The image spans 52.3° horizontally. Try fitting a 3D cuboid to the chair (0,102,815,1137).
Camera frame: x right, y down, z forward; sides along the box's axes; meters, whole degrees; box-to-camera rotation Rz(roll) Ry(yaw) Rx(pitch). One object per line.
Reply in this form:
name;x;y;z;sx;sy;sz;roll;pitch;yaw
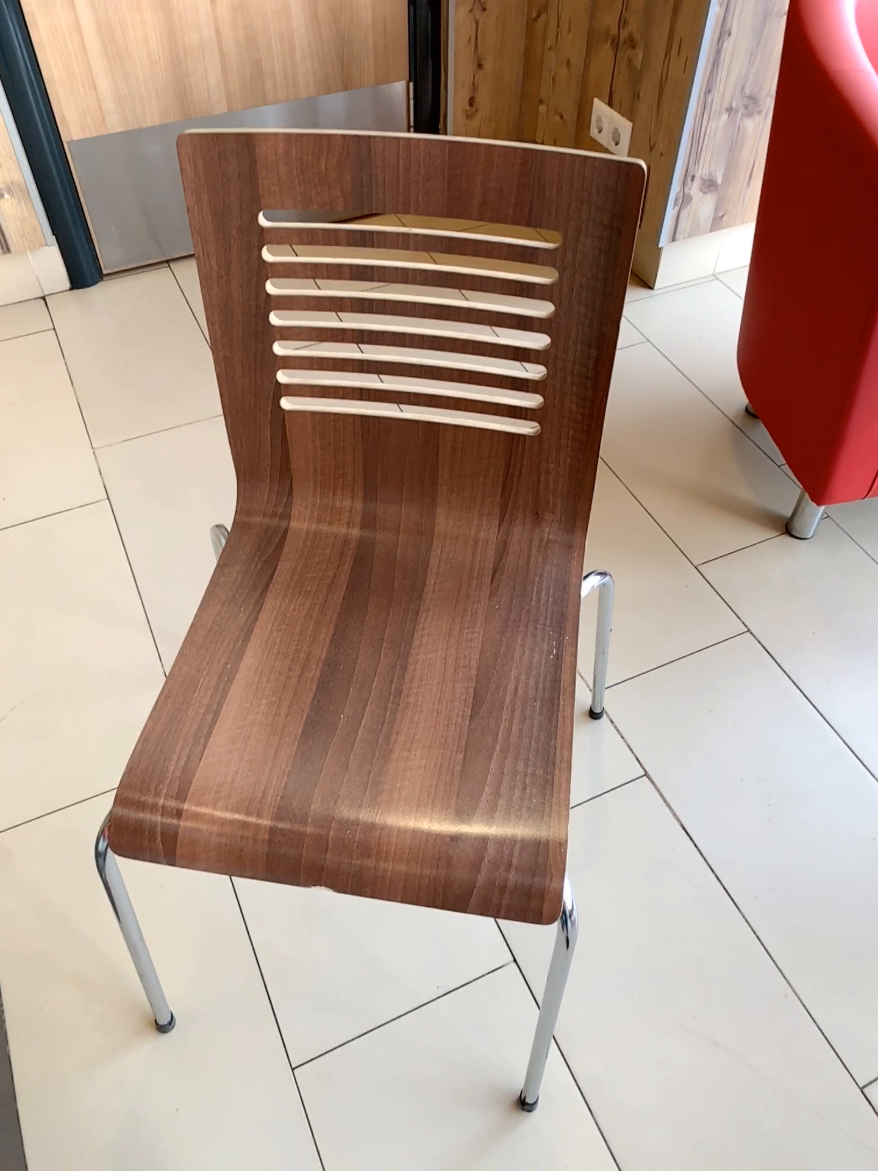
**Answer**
chair;-0.063;0.081;0.892;0.544;0.794;0.595;8;50;6
